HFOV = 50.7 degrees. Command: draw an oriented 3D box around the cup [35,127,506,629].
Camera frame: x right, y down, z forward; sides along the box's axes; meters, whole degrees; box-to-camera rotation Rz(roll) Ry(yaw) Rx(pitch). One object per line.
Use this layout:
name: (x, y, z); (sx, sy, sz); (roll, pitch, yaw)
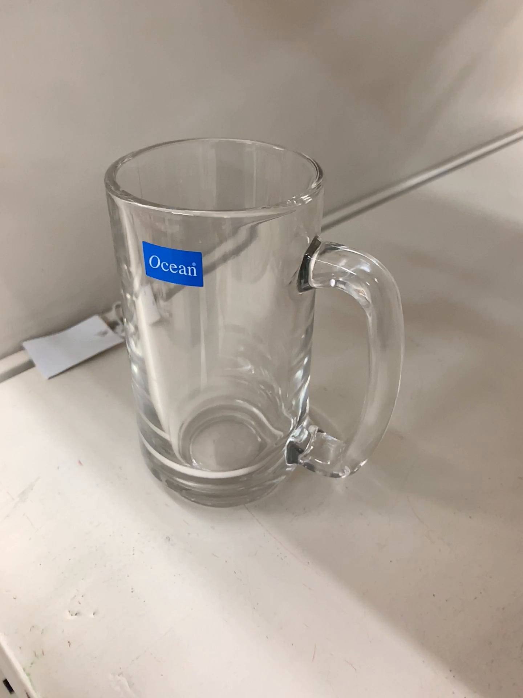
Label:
cup: (0.001, 0.003, 0.206); (0.120, 0.129, 0.080); (25, 43, 30)
